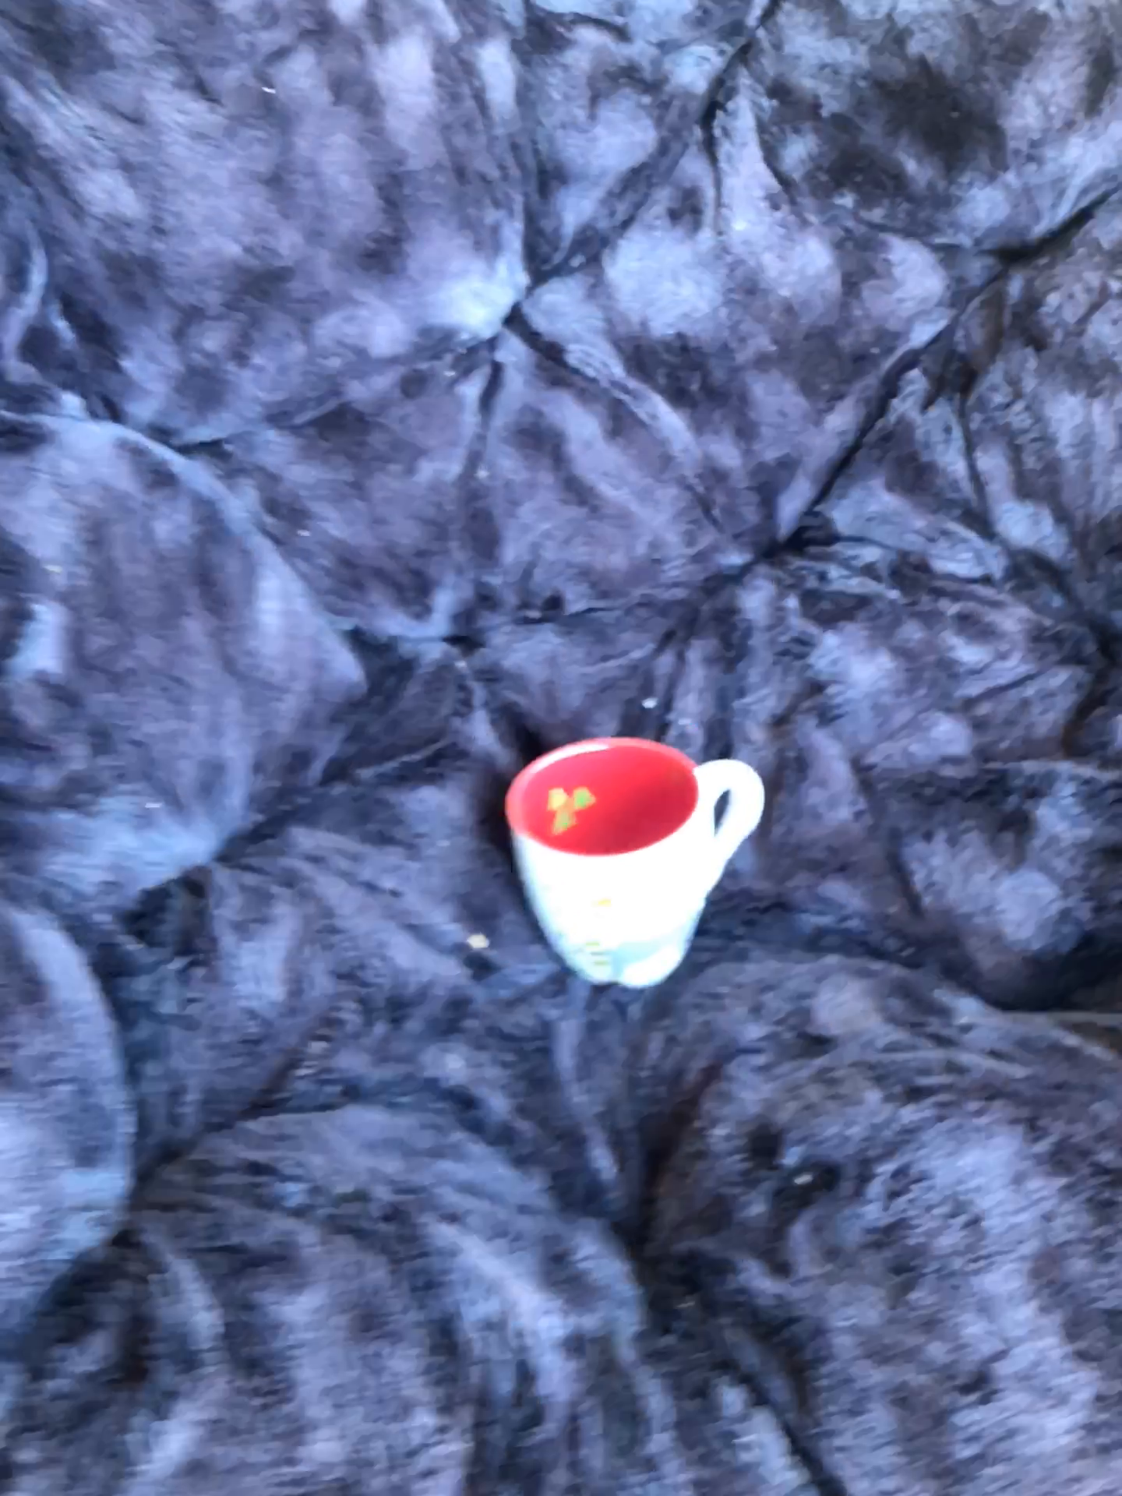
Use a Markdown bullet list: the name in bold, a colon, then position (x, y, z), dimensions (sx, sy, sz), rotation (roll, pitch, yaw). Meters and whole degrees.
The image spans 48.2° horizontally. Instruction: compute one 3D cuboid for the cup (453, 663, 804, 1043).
- **cup**: position (0.037, 0.050, 0.649), dimensions (0.140, 0.110, 0.100), rotation (-28, 44, -25)
